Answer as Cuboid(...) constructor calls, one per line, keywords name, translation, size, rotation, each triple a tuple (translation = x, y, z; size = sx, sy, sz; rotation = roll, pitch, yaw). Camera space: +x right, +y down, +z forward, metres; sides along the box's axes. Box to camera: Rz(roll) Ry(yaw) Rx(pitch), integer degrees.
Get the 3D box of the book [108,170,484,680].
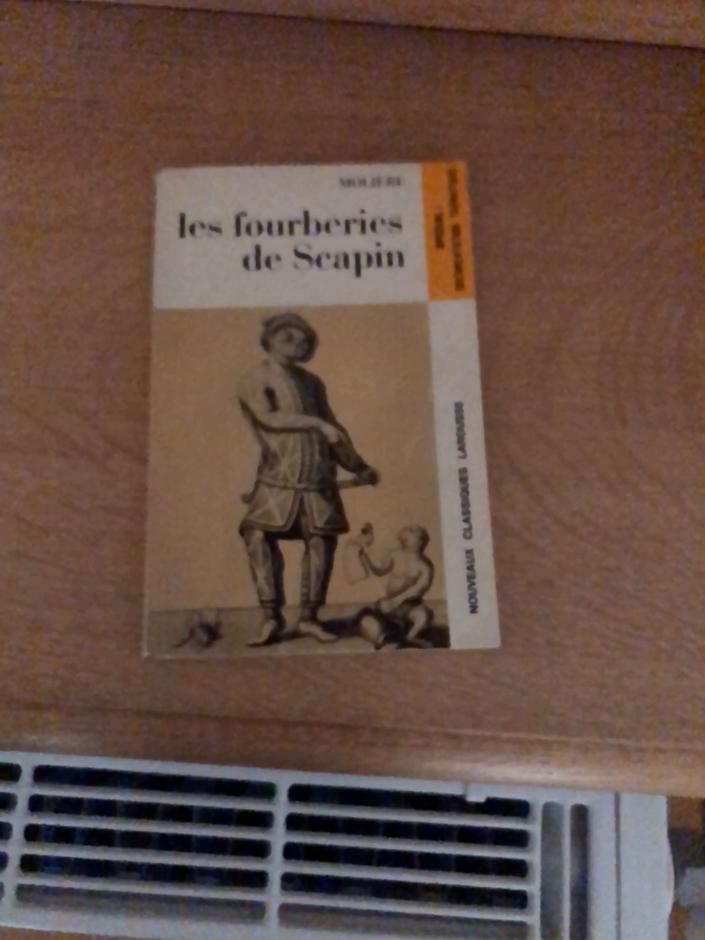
Cuboid(name="book", translation=(-0.020, -0.020, 0.271), size=(0.117, 0.015, 0.174), rotation=(-1, 77, -2))
